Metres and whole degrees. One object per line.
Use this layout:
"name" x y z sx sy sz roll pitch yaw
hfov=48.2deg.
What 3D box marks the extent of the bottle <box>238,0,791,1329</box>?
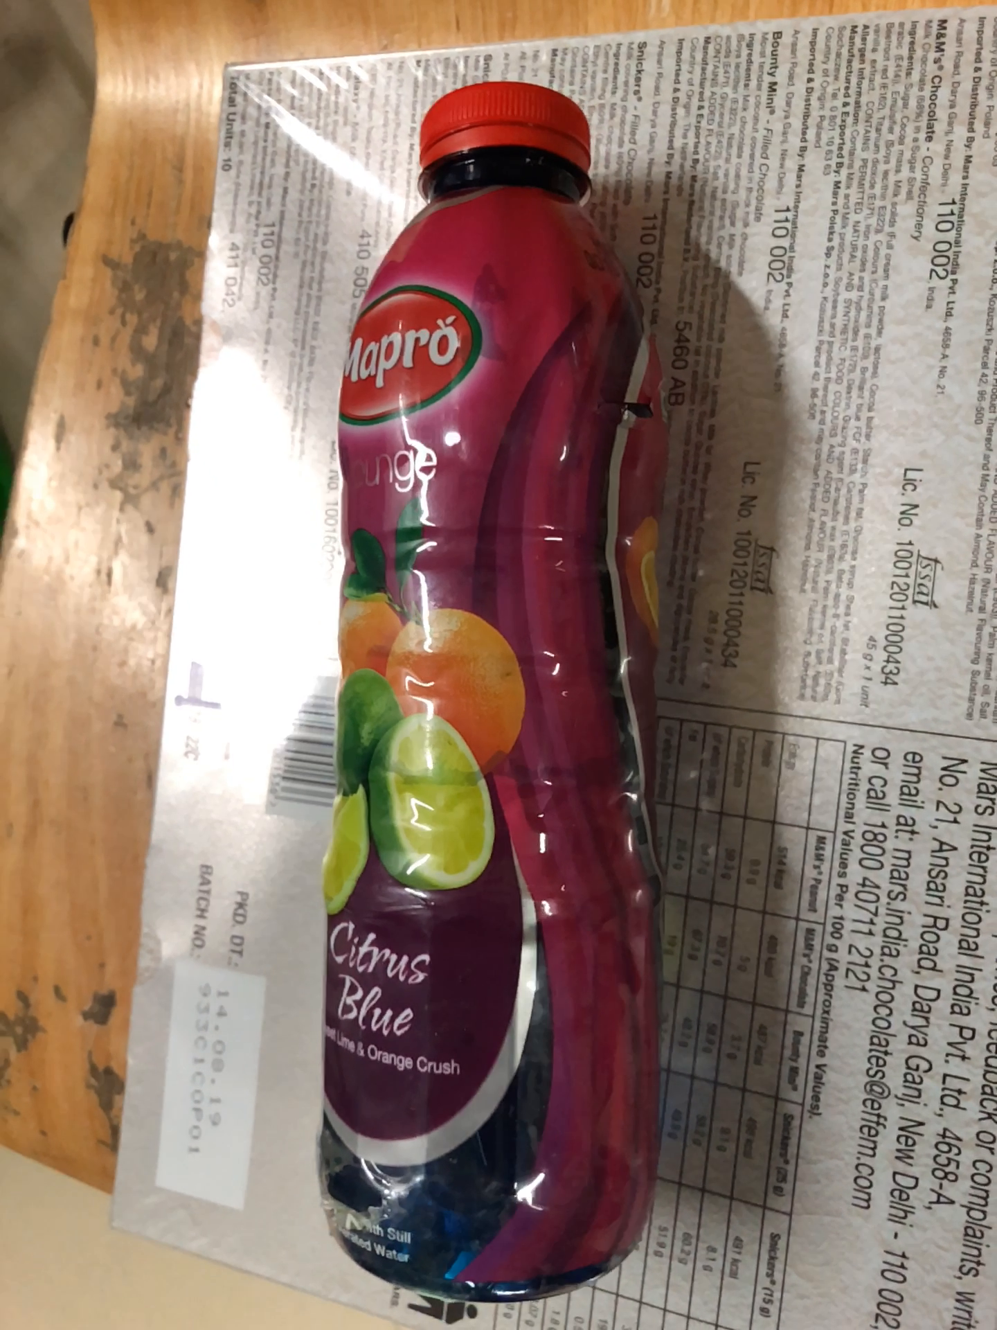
"bottle" 0.002 -0.010 0.248 0.090 0.080 0.270 3 93 43
